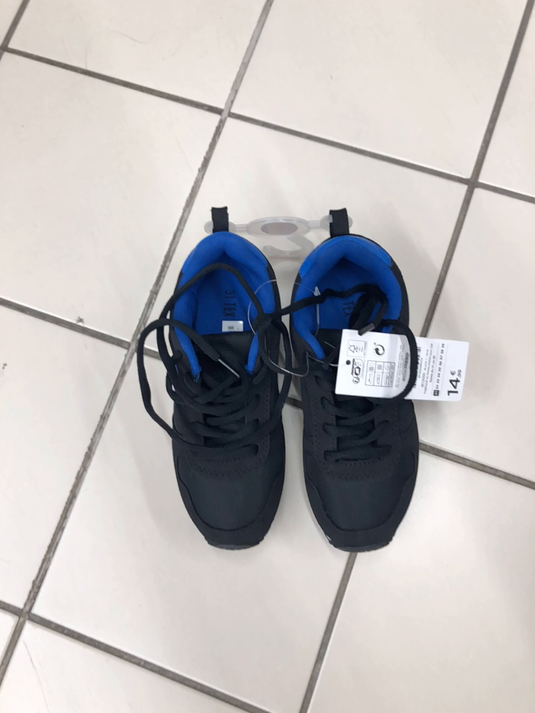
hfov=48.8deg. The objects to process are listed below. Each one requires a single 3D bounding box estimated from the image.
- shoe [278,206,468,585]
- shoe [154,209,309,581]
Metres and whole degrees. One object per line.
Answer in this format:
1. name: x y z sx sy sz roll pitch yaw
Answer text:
1. shoe: 0.060 0.023 0.373 0.085 0.071 0.212 -5 79 3
2. shoe: -0.022 0.023 0.378 0.085 0.061 0.217 -3 79 4
